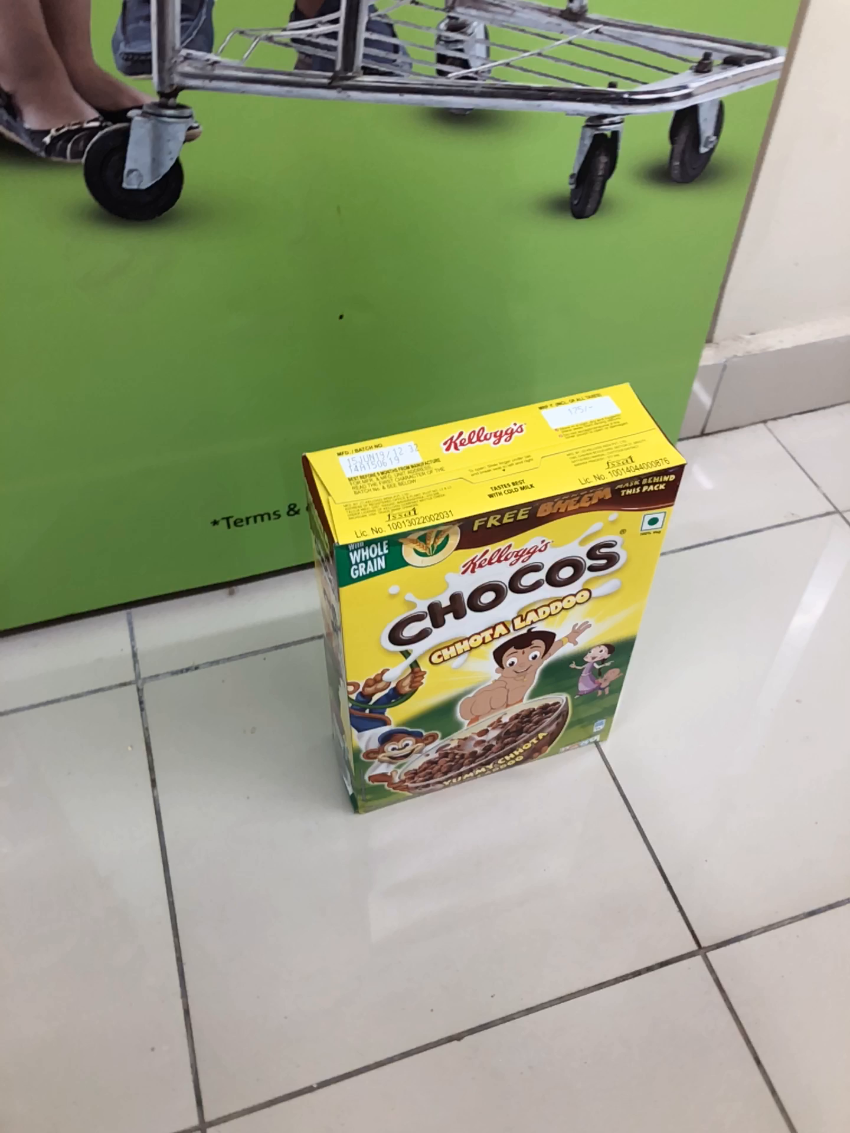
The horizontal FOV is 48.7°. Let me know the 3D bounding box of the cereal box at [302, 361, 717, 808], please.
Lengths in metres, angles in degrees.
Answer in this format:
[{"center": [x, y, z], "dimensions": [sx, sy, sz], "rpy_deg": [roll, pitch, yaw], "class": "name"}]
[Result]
[{"center": [0.038, 0.023, 0.553], "dimensions": [0.190, 0.258, 0.070], "rpy_deg": [-13, 50, -13], "class": "cereal box"}]
